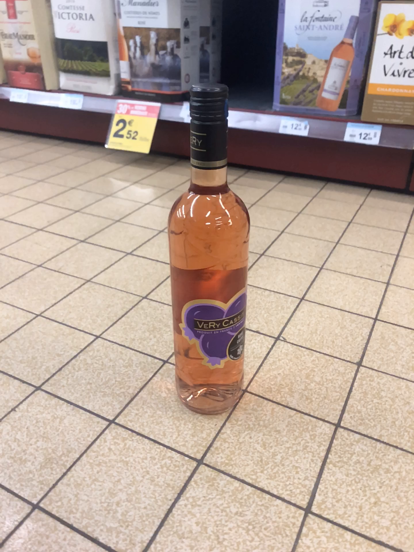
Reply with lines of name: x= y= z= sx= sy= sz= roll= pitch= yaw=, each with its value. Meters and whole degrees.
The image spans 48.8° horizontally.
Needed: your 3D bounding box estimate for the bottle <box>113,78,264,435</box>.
bottle: x=-0.016 y=-0.007 z=0.405 sx=0.080 sy=0.298 sz=0.080 roll=0 pitch=29 yaw=0
